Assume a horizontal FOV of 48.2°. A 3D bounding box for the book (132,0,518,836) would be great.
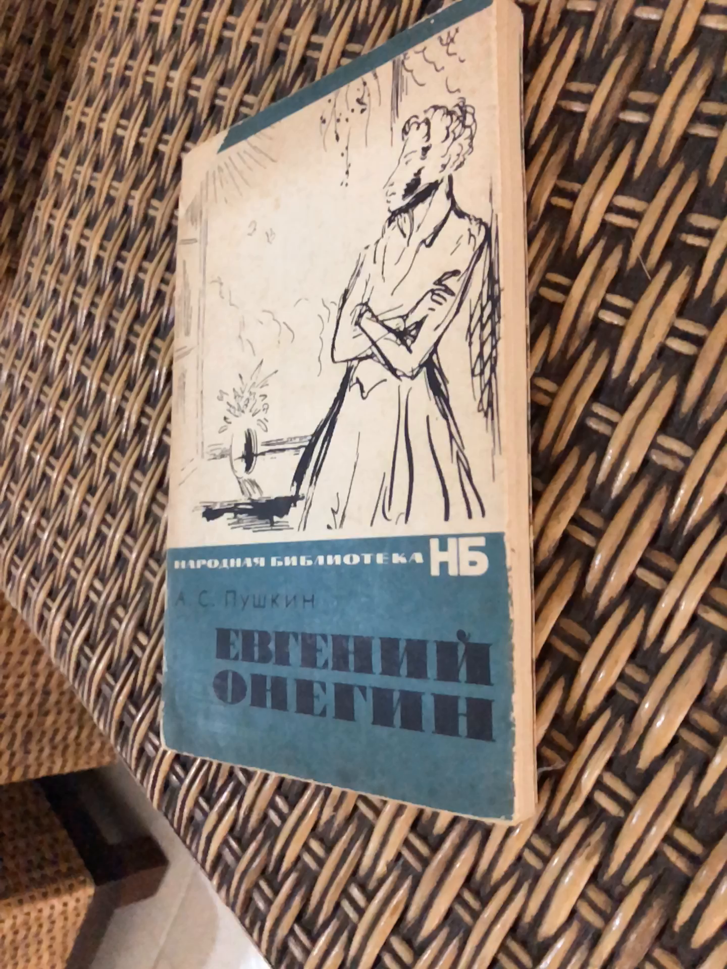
[{"bbox_3d":[-0.017,-0.018,0.223,0.120,0.020,0.190,-6,81,41],"label":"book"}]
